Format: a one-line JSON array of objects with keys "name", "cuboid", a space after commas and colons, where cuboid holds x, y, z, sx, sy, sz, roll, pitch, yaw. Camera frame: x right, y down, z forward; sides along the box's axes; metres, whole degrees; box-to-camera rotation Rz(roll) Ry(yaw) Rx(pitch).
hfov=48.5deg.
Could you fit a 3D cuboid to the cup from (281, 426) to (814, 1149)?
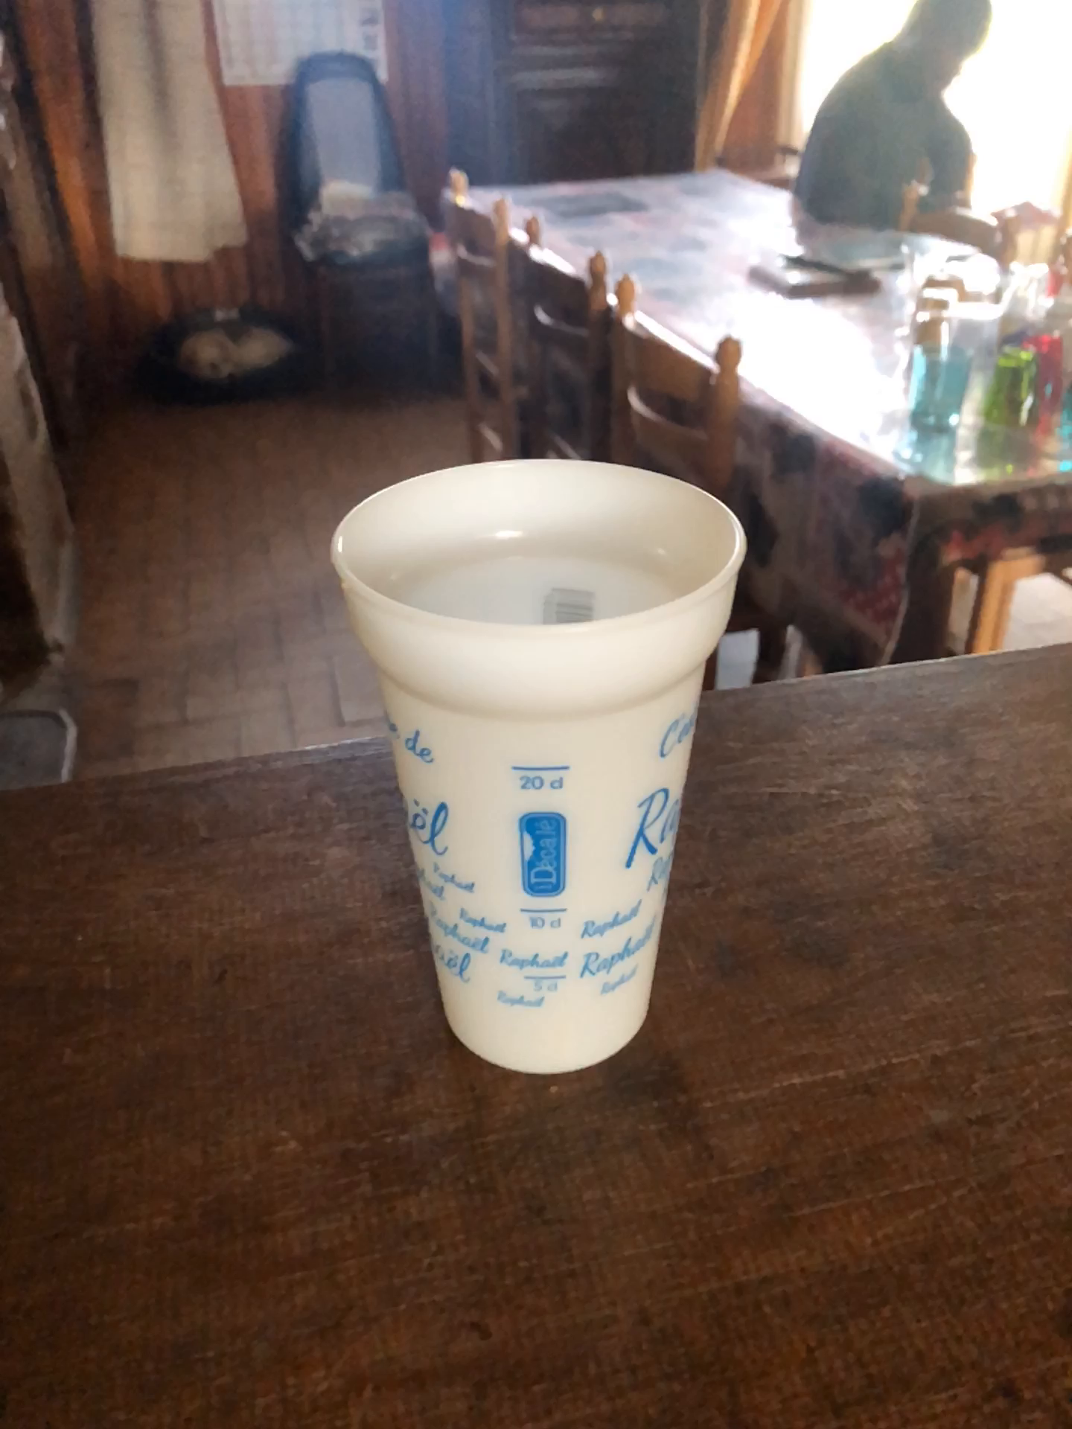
[{"name": "cup", "cuboid": [0.008, 0.012, 0.257, 0.080, 0.119, 0.081, -1, 32, 1]}]
